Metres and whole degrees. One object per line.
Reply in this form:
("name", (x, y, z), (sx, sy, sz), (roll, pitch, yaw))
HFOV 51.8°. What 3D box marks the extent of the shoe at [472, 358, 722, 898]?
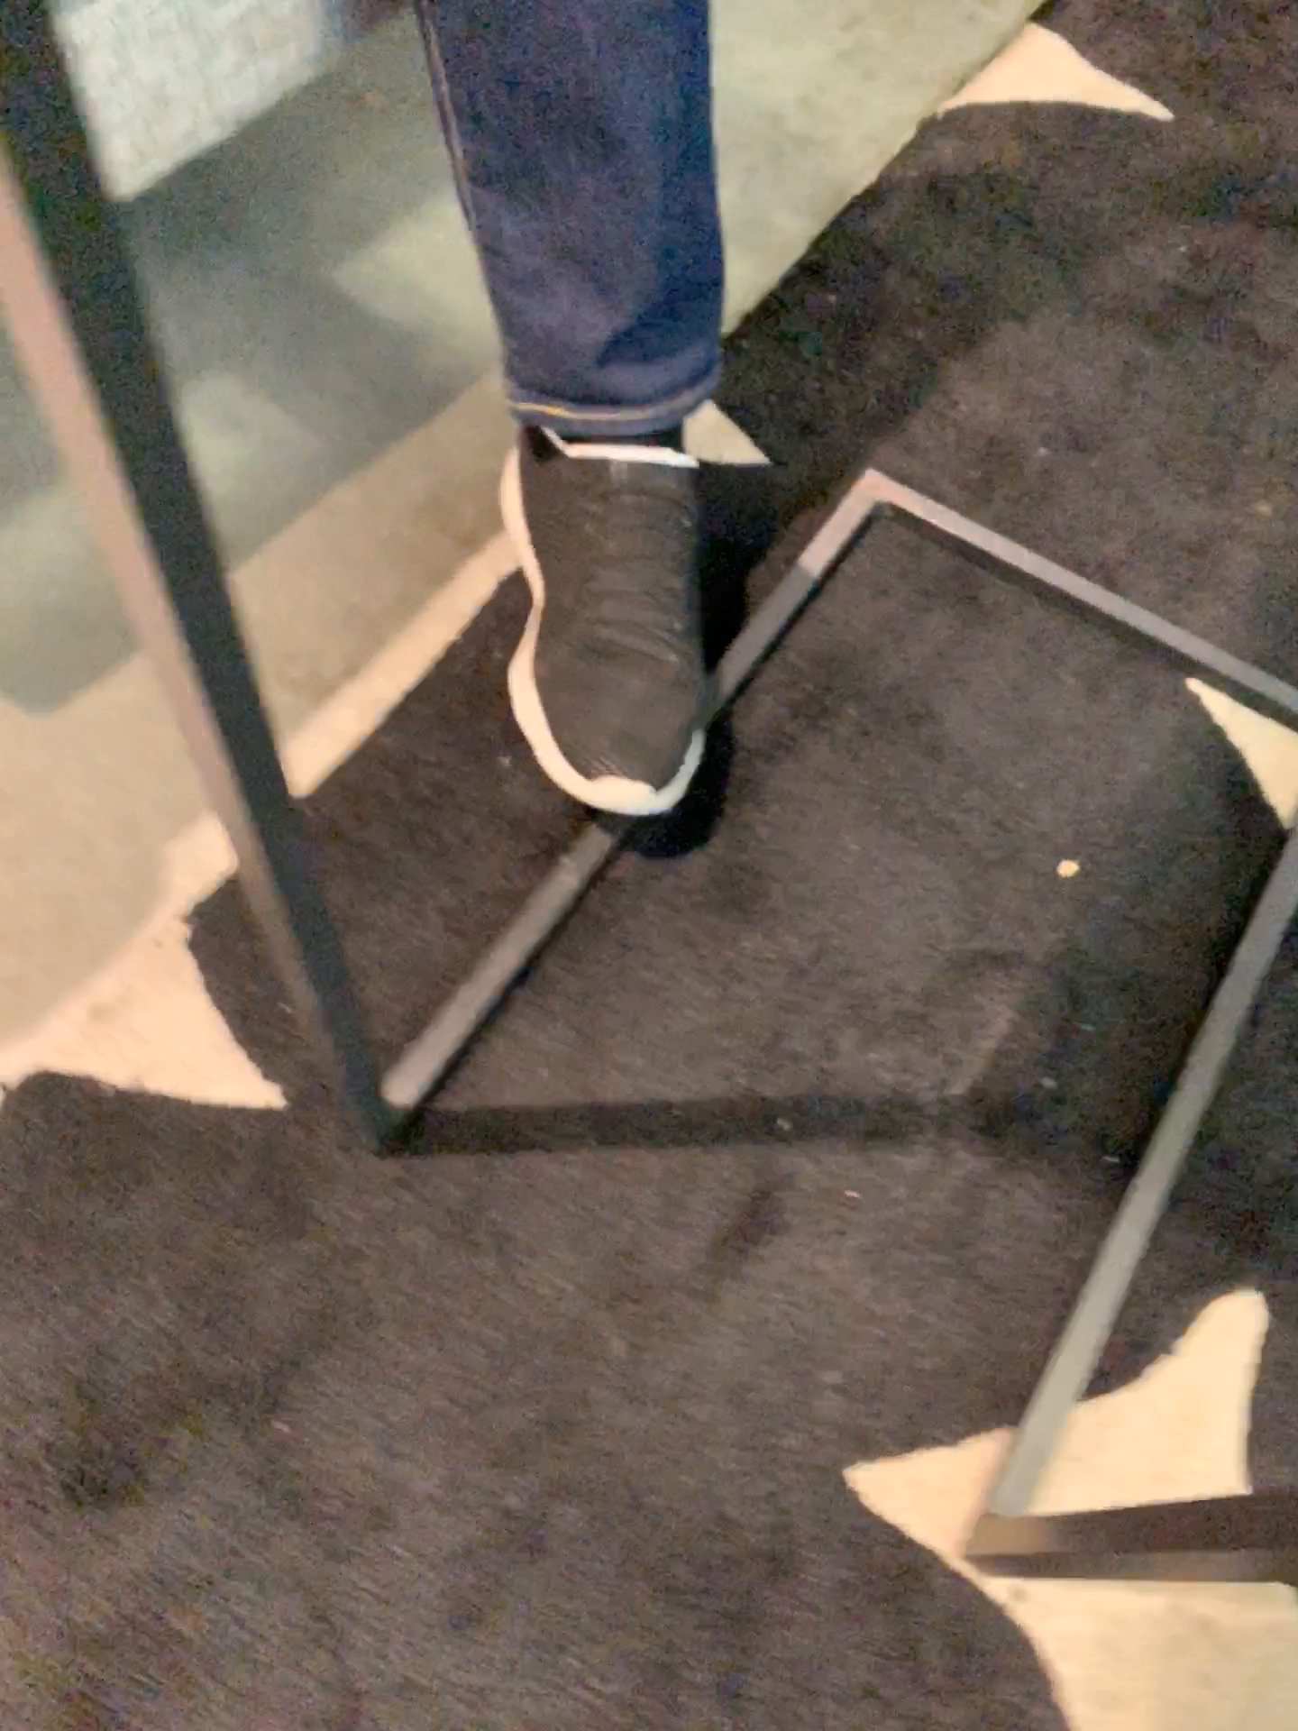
("shoe", (-0.029, -0.136, 0.725), (0.116, 0.074, 0.304), (2, 61, -5))
